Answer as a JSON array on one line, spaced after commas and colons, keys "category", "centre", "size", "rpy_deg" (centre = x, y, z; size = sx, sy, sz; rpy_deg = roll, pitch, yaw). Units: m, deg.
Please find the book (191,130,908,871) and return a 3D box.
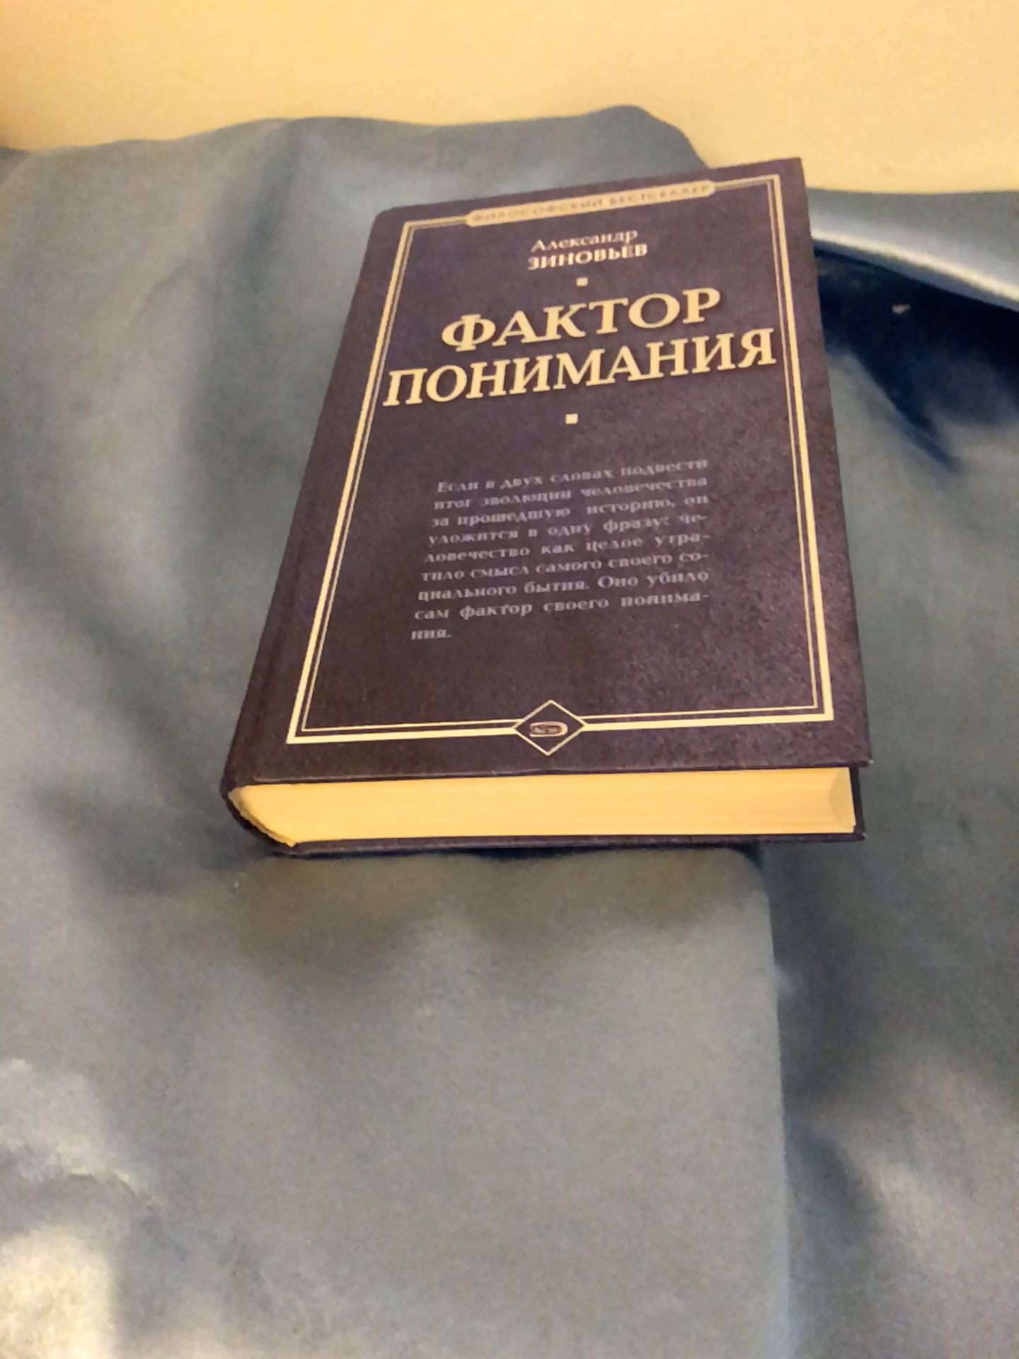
[{"category": "book", "centre": [0.017, -0.059, 0.298], "size": [0.140, 0.040, 0.221], "rpy_deg": [-3, 52, 13]}]
